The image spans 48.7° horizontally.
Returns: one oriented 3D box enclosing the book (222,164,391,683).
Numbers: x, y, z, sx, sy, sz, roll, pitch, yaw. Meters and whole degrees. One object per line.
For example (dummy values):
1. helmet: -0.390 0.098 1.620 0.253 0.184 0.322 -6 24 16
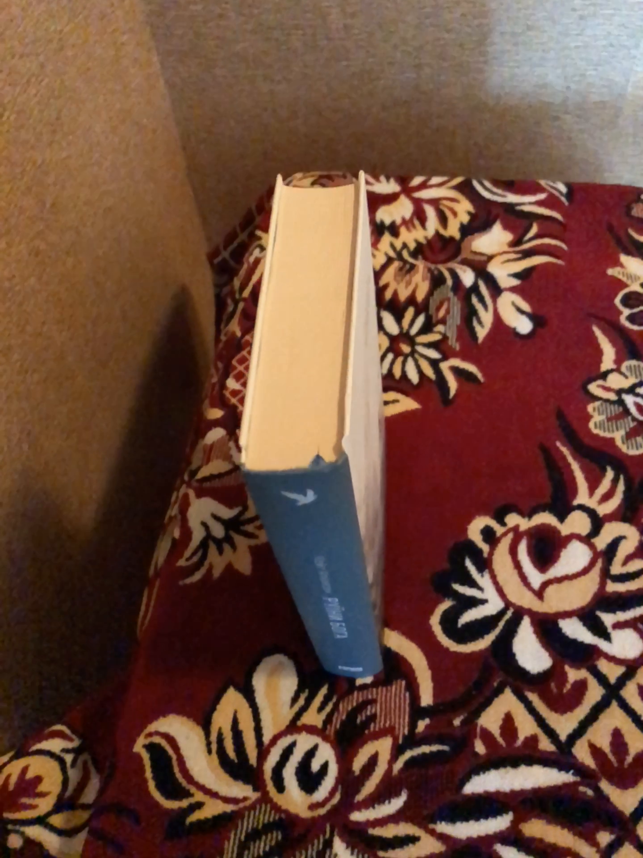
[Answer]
1. book: 0.008 0.012 0.338 0.040 0.210 0.151 -1 54 8
